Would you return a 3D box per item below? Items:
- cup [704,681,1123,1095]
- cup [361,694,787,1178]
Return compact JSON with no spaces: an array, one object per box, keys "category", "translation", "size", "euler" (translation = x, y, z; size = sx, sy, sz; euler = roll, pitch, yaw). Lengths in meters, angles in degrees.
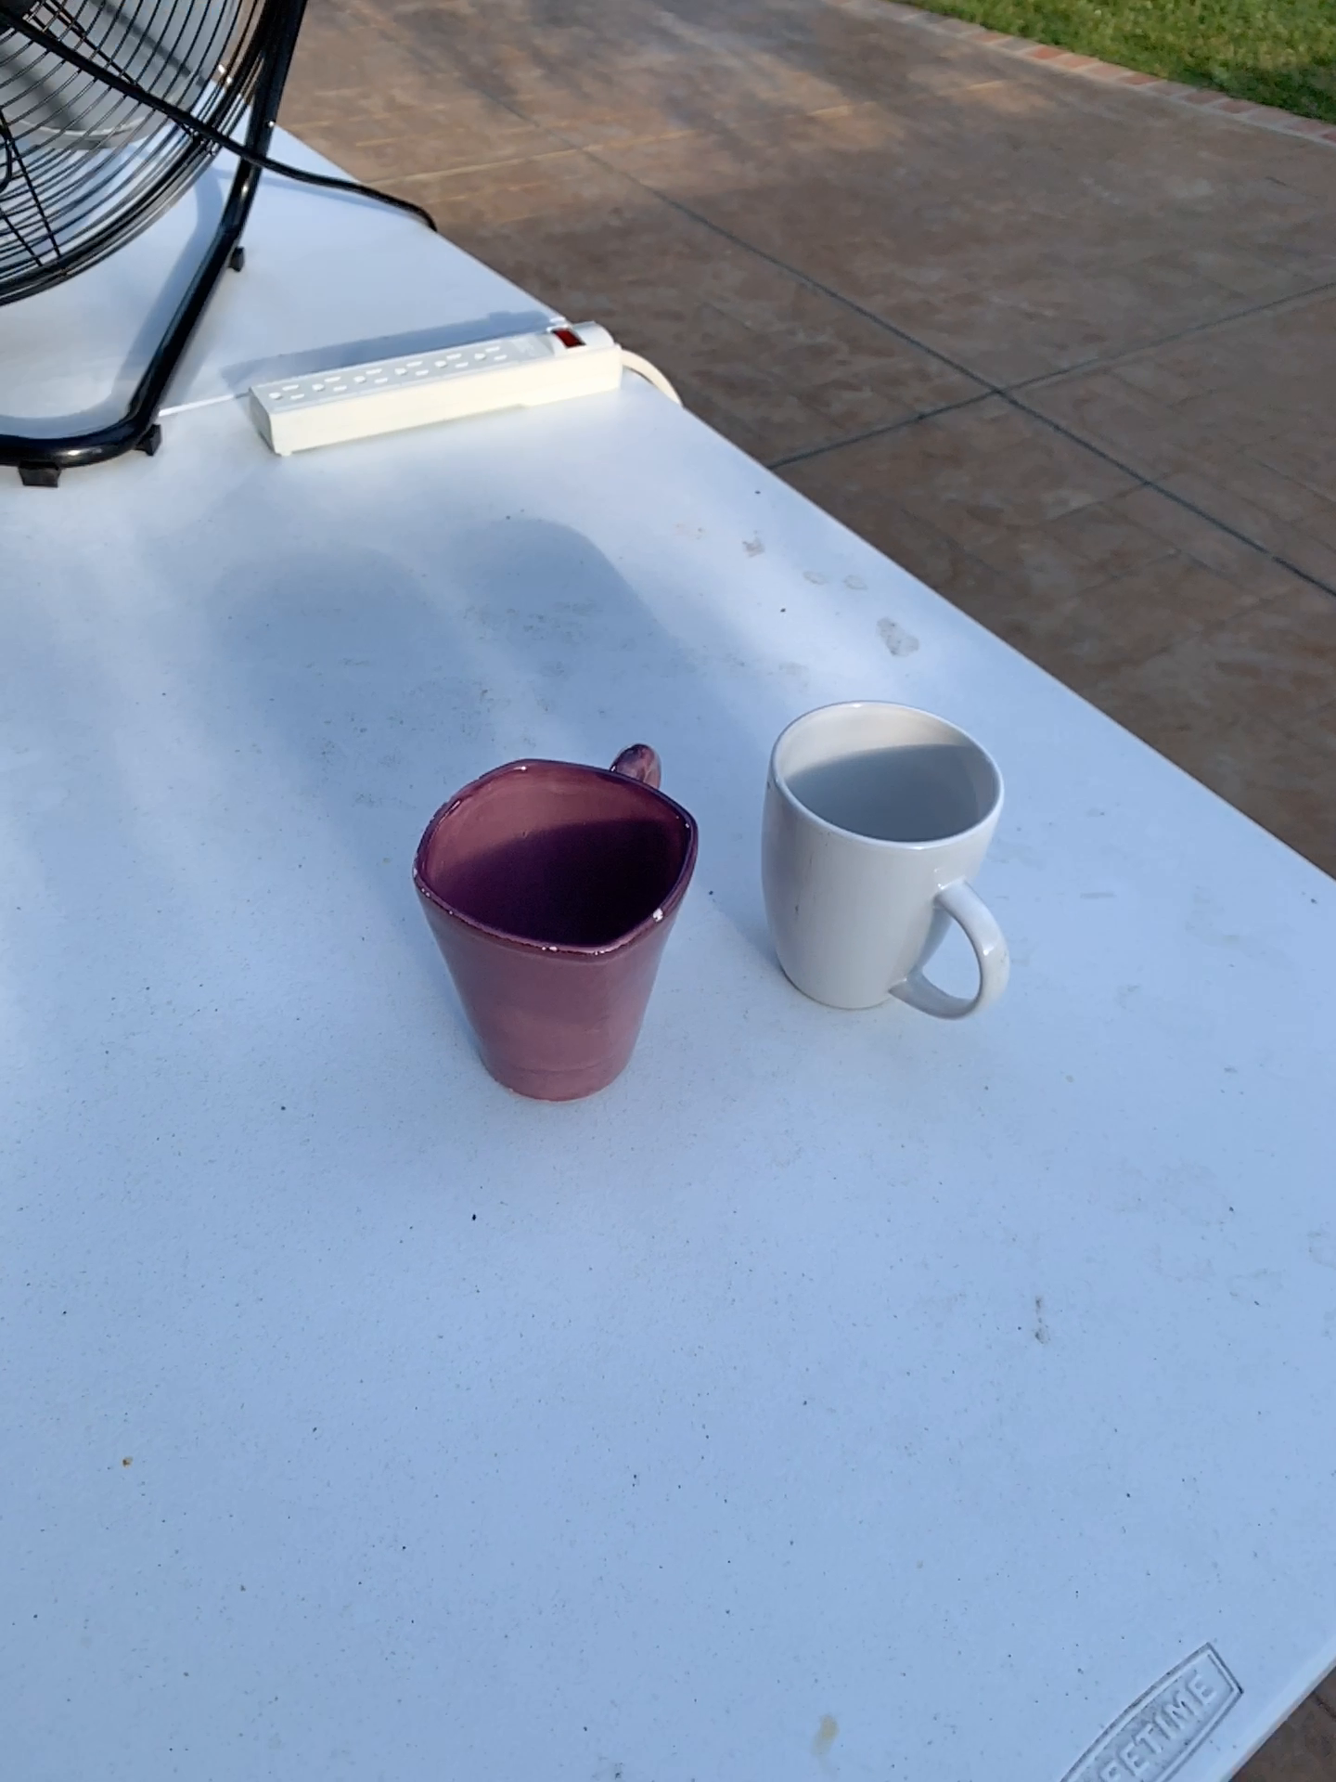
[{"category":"cup","translation":[0.090,-0.005,0.543],"size":[0.100,0.080,0.121],"euler":[-18,50,-21]},{"category":"cup","translation":[-0.031,0.013,0.513],"size":[0.100,0.090,0.131],"euler":[20,47,15]}]
